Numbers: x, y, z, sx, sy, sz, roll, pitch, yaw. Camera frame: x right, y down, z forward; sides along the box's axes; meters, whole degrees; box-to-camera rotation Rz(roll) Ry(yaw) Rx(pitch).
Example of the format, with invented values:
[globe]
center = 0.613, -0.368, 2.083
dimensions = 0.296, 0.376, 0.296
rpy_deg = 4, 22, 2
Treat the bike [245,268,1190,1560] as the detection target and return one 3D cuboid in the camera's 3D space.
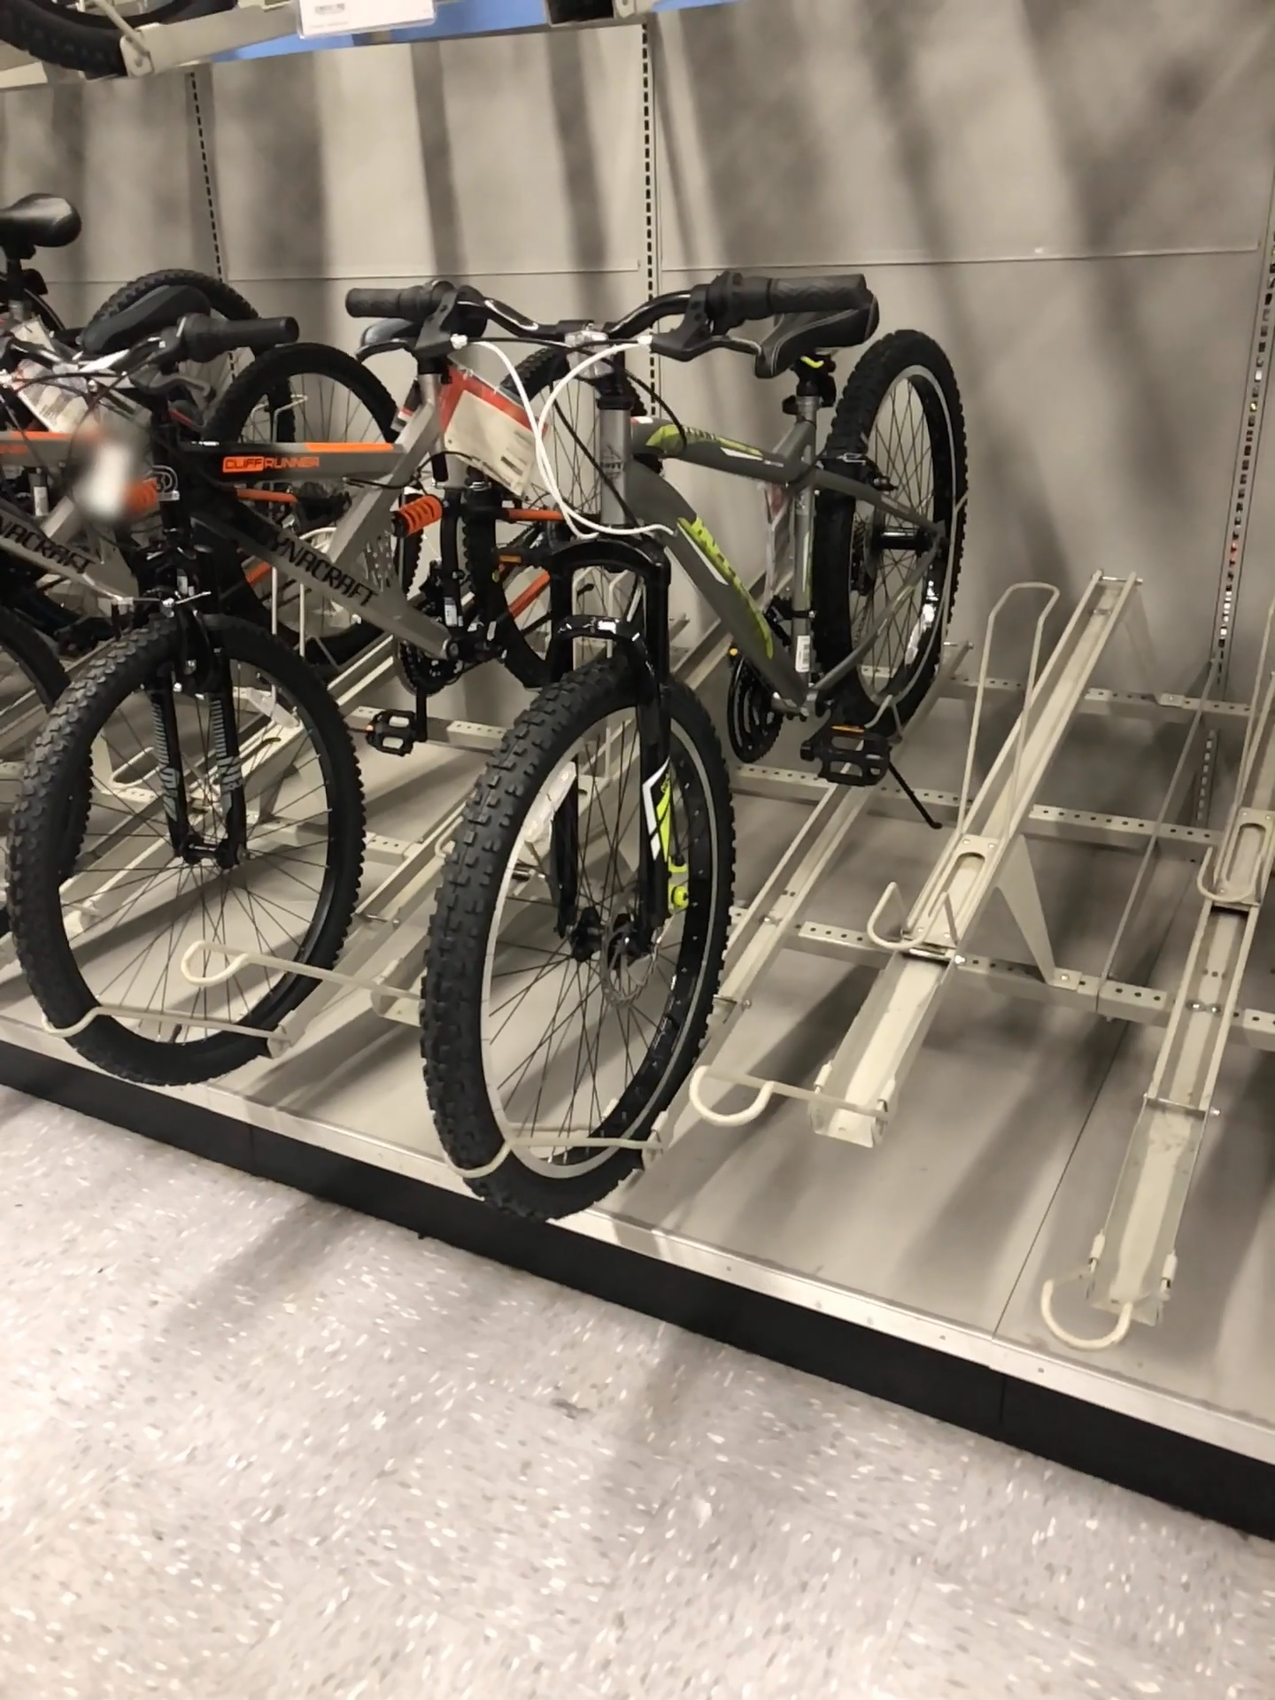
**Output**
[bike]
center = 0.266, -0.181, 1.993
dimensions = 0.608, 0.728, 1.723
rpy_deg = 10, 37, 28
